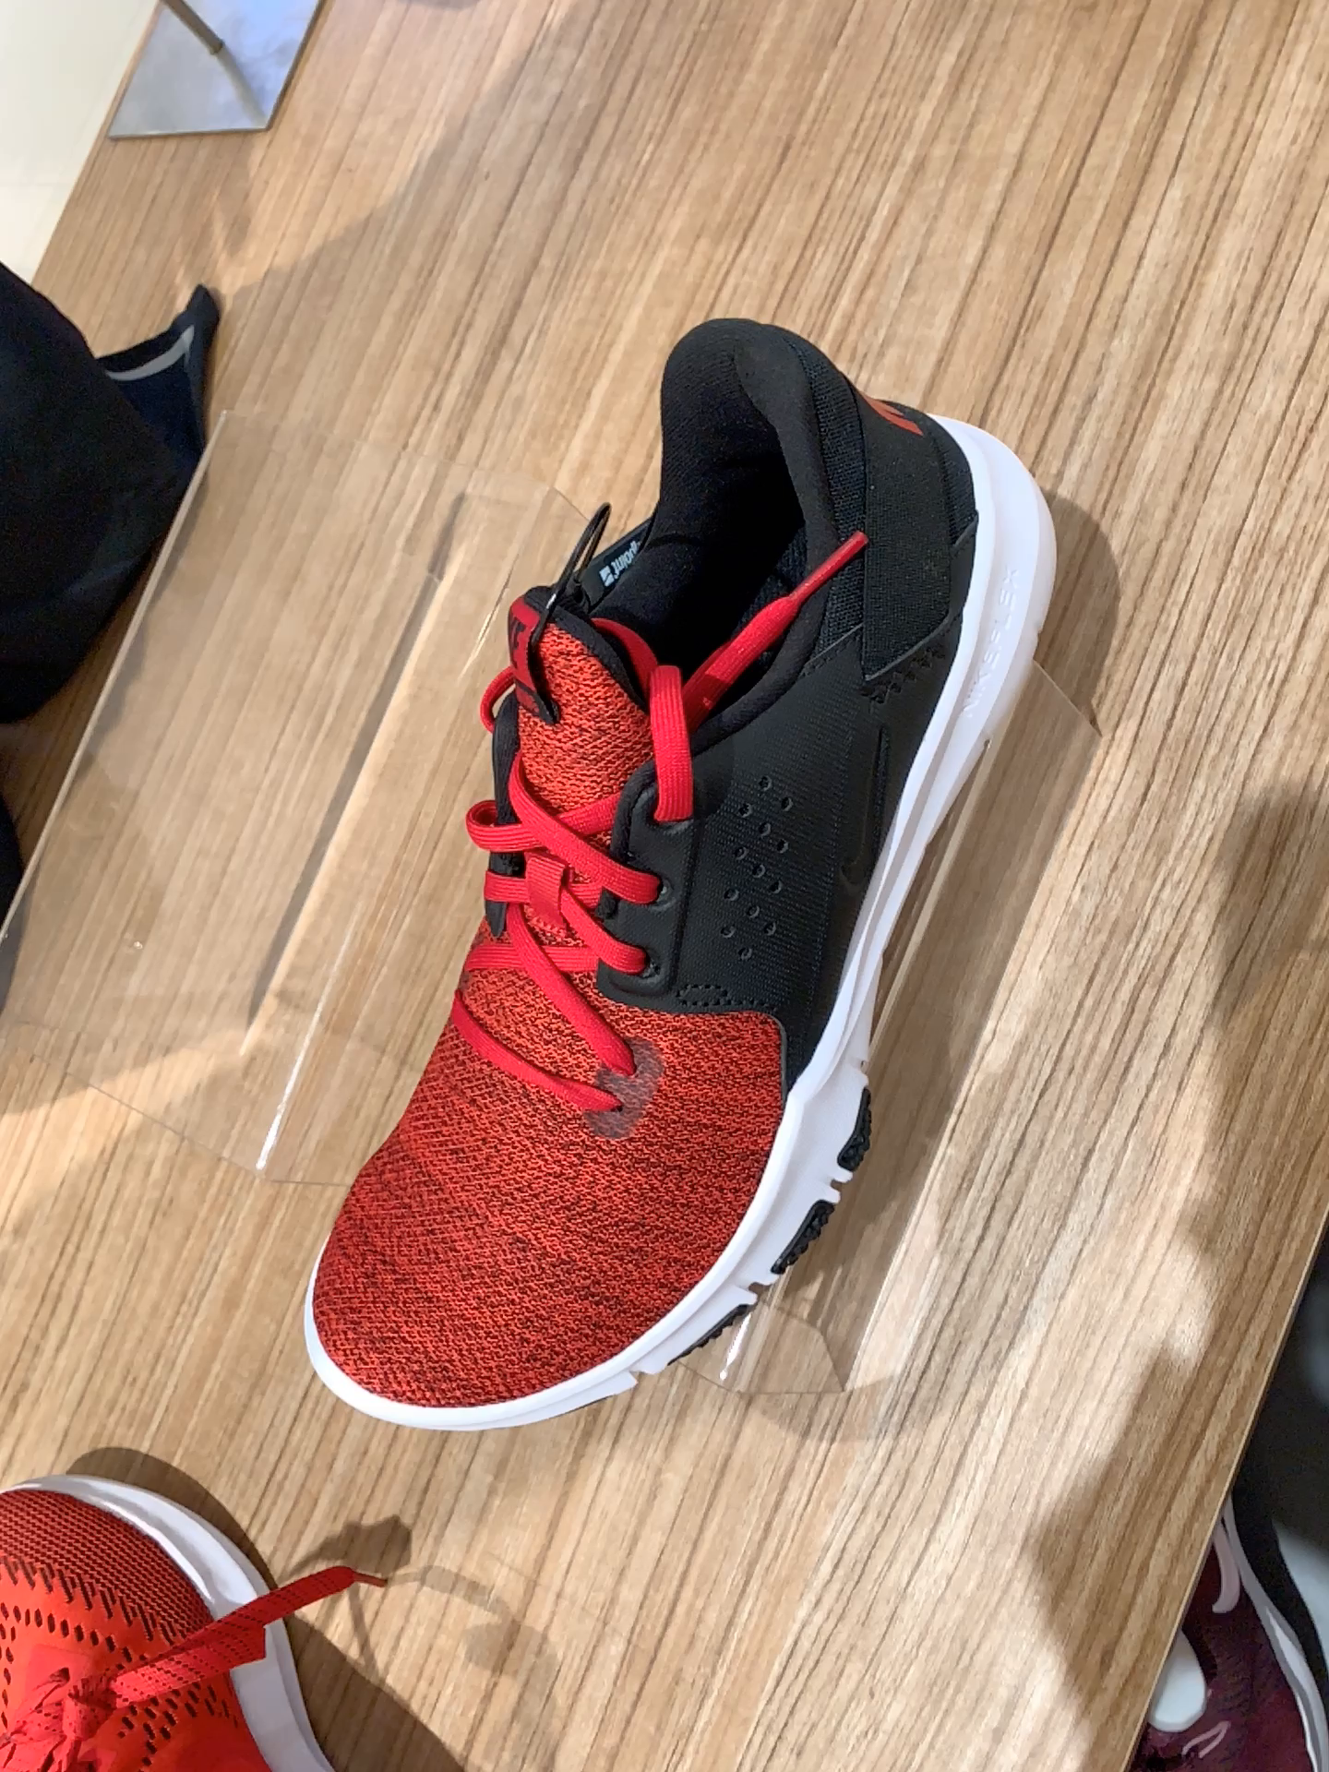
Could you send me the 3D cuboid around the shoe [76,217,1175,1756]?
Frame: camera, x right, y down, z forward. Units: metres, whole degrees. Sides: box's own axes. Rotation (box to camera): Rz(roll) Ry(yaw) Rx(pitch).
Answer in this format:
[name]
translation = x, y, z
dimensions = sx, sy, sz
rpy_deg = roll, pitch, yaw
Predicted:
[shoe]
translation = -0.005, 0.010, 0.306
dimensions = 0.111, 0.080, 0.290
rpy_deg = 23, 87, 33
